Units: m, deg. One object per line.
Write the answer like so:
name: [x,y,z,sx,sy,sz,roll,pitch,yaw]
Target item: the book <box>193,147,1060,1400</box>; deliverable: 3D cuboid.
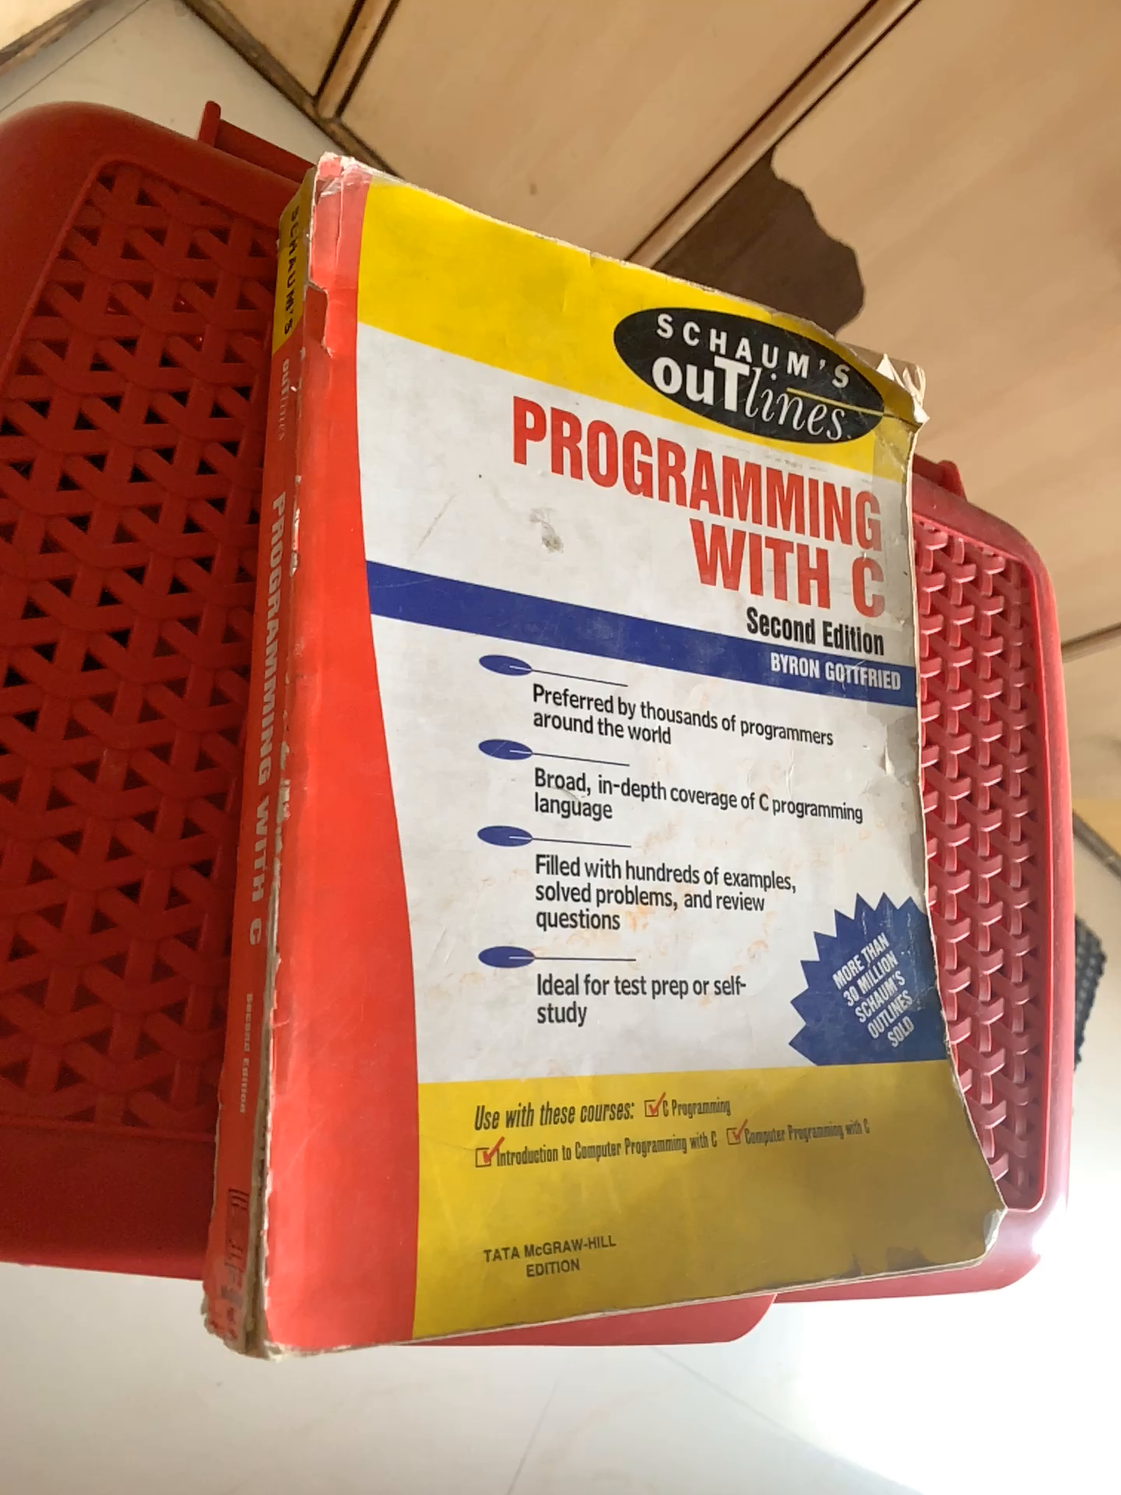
book: [0.025,0.005,0.294,0.201,0.050,0.250,8,74,-28]
